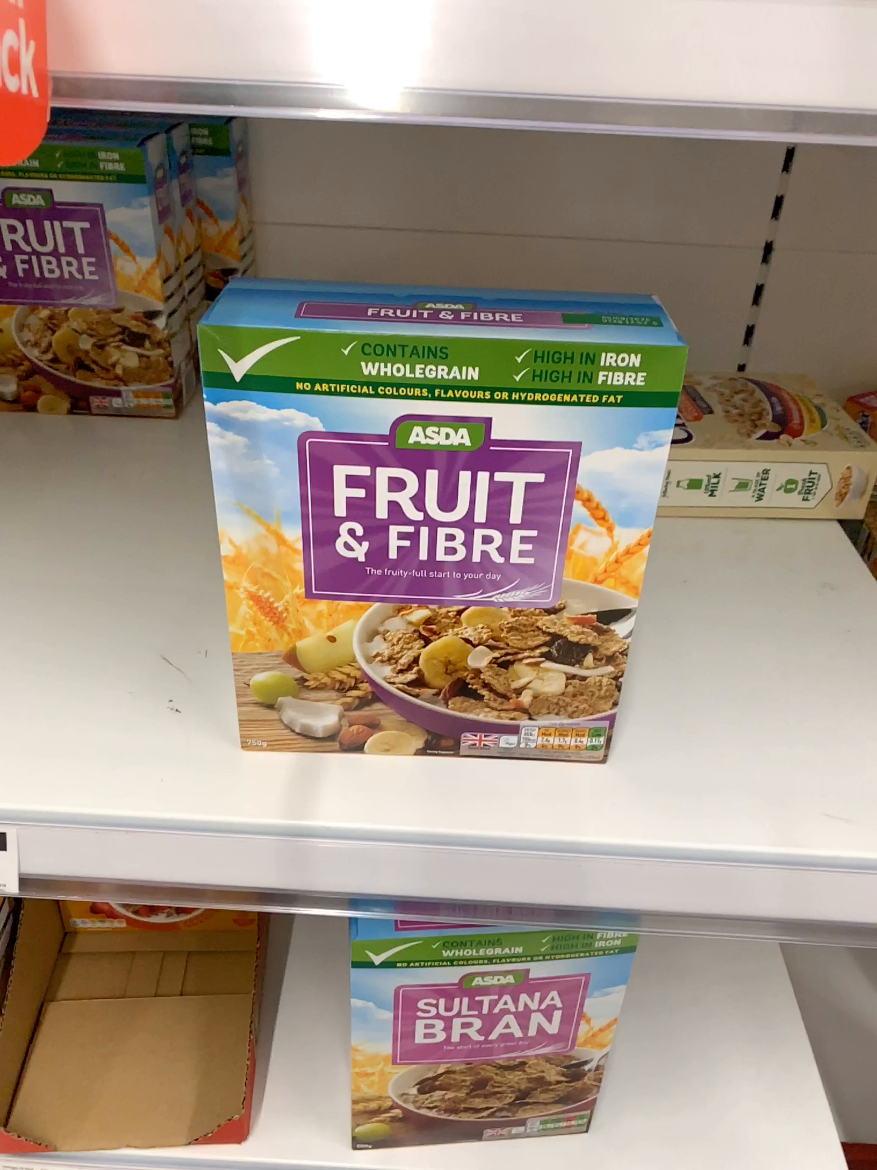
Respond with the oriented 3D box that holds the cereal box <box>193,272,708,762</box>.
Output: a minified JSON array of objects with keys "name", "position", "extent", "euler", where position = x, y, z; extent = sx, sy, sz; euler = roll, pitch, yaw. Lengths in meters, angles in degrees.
[{"name":"cereal box","position":[0.001,-0.028,0.505],"extent":[0.230,0.257,0.081],"euler":[3,34,0]}]
